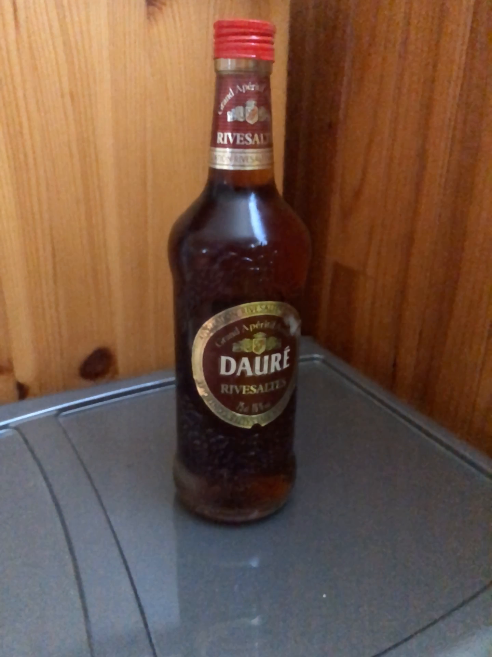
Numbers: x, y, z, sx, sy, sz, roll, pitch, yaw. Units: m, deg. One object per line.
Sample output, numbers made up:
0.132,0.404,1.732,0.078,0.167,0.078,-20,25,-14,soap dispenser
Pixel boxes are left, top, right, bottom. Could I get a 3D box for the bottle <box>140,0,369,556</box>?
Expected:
-0.005,-0.021,0.335,0.090,0.298,0.090,2,22,-1,bottle
